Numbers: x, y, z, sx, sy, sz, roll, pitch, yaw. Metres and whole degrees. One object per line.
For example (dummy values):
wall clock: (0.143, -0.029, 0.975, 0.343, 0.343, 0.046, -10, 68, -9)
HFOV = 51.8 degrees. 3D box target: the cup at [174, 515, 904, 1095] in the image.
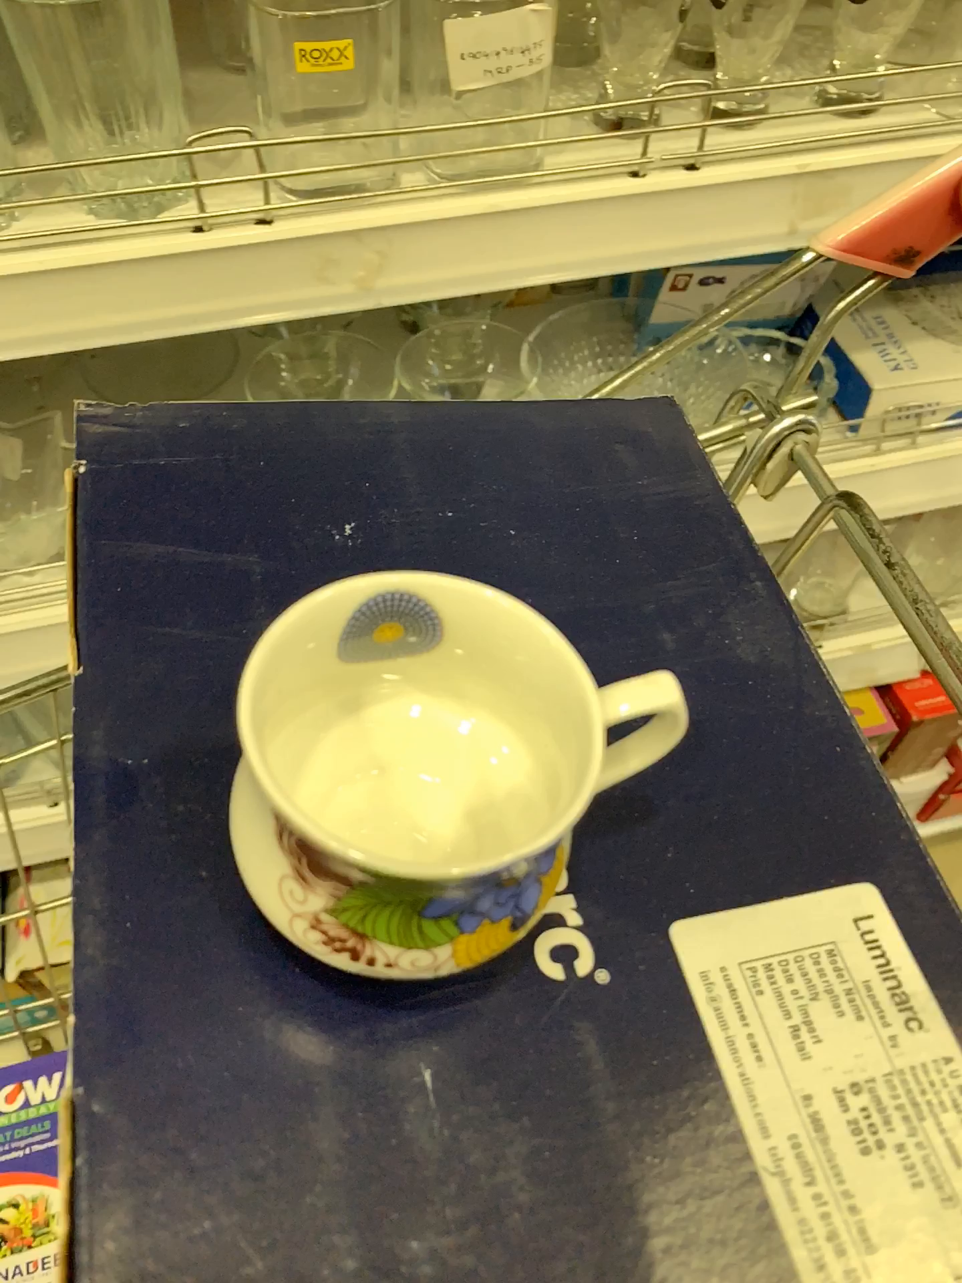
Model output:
cup: (0.003, 0.023, 0.159, 0.090, 0.050, 0.060, -8, 53, -15)
